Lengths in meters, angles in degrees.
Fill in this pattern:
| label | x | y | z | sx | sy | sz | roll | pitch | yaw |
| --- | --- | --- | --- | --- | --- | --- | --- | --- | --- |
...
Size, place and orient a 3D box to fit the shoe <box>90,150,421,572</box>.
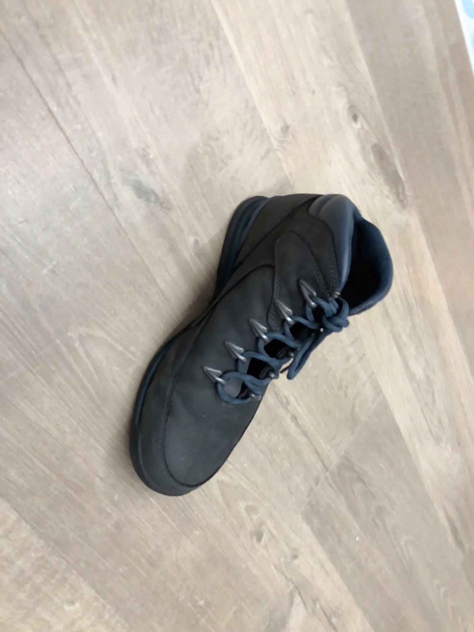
| label | x | y | z | sx | sy | sz | roll | pitch | yaw |
| --- | --- | --- | --- | --- | --- | --- | --- | --- | --- |
| shoe | 0.023 | 0.025 | 0.427 | 0.110 | 0.129 | 0.290 | 38 | 69 | -35 |
